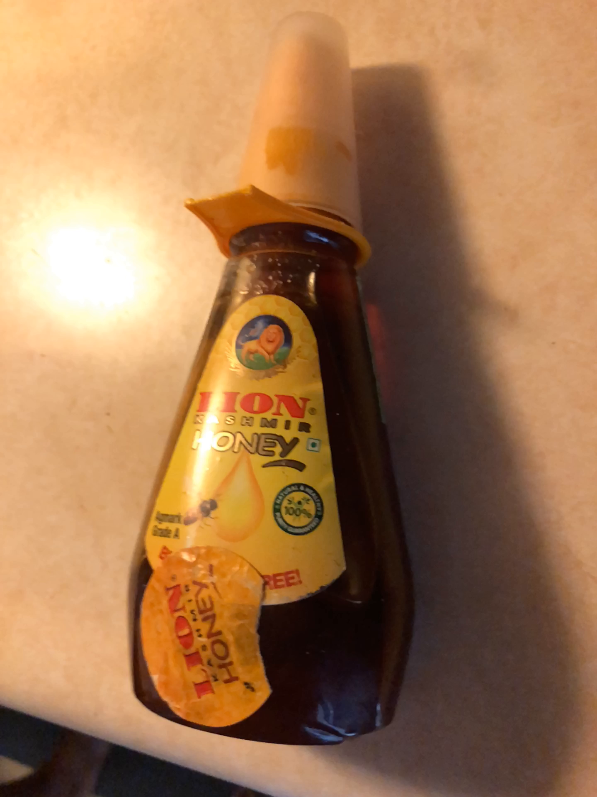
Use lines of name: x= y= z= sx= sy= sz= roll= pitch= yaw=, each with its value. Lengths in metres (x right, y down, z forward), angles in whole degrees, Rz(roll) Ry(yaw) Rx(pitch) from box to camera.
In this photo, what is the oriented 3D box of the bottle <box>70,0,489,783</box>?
bottle: x=0.000 y=-0.016 z=0.184 sx=0.090 sy=0.050 sz=0.190 roll=0 pitch=82 yaw=22
